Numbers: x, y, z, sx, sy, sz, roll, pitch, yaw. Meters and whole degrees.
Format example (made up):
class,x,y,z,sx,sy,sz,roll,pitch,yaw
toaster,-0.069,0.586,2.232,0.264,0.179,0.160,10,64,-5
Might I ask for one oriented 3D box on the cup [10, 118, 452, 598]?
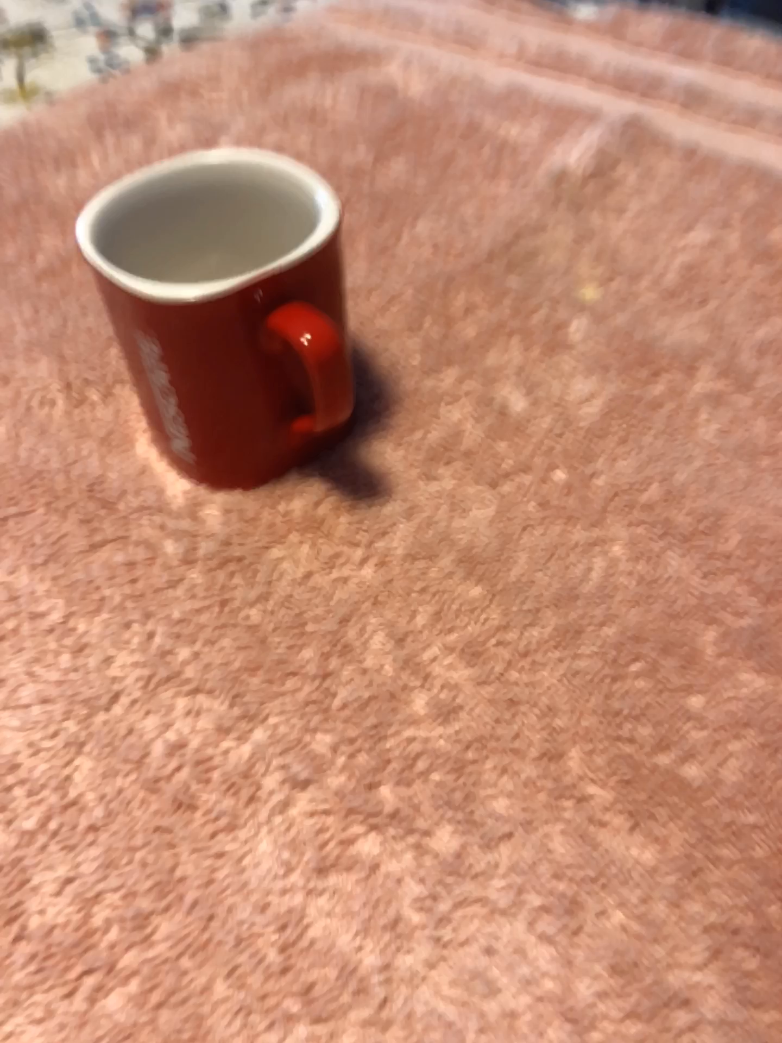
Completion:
class,x,y,z,sx,sy,sz,roll,pitch,yaw
cup,-0.042,-0.049,0.244,0.070,0.070,0.100,-30,55,-20
